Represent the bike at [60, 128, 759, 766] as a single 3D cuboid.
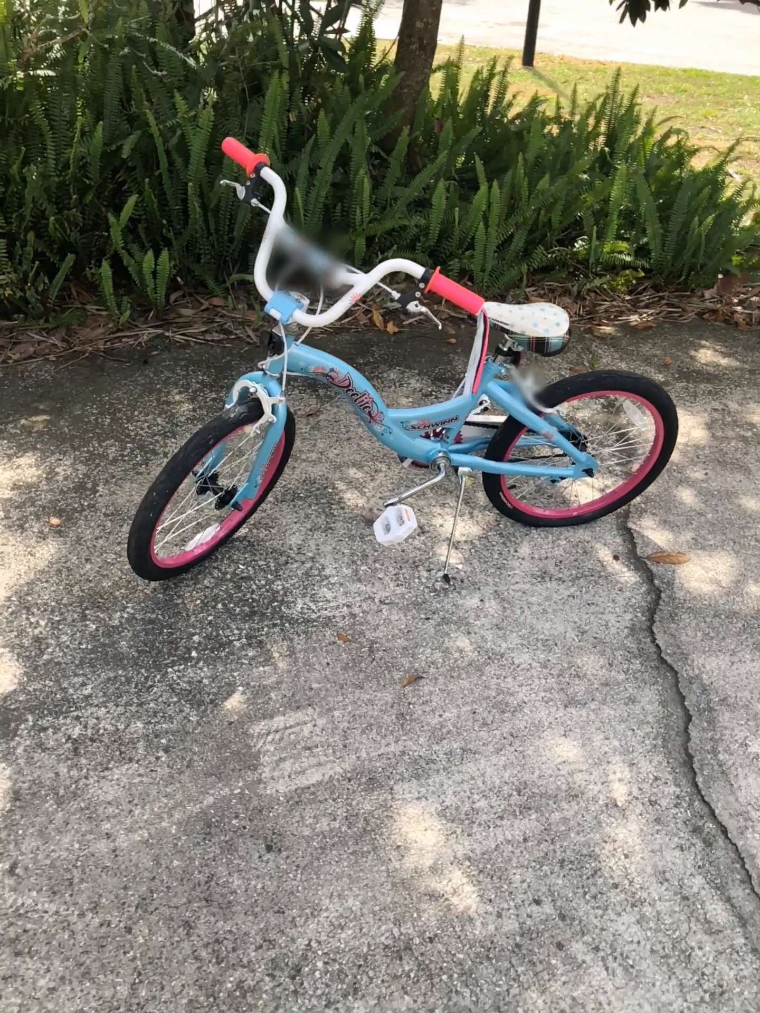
[{"bbox_3d":[0.134,-0.214,1.727,1.309,0.923,0.703,-9,37,-18],"label":"bike"}]
